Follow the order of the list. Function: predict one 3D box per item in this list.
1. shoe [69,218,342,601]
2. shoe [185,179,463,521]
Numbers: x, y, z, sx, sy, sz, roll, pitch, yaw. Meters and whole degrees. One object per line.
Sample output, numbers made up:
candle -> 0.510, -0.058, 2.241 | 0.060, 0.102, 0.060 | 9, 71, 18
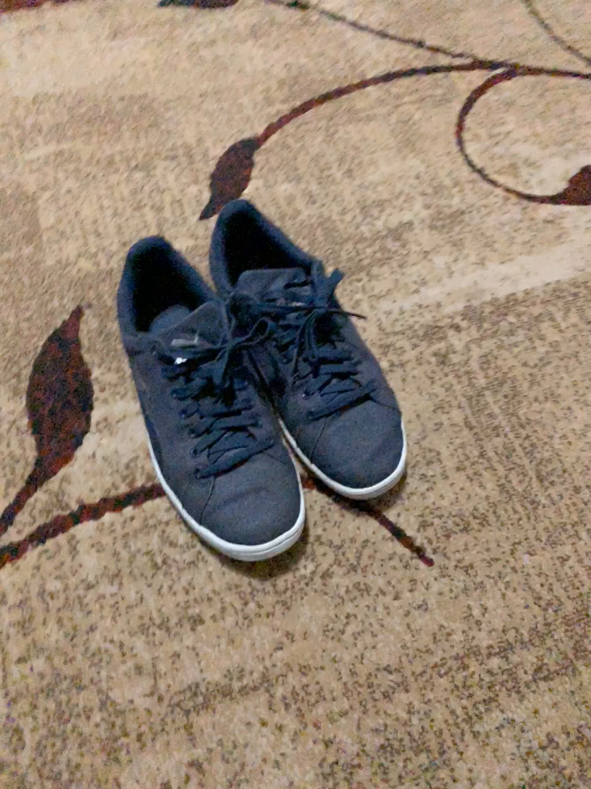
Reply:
shoe -> -0.077, 0.004, 0.482 | 0.106, 0.090, 0.276 | -22, 66, -13
shoe -> 0.011, -0.048, 0.489 | 0.099, 0.050, 0.276 | -23, 66, -13
